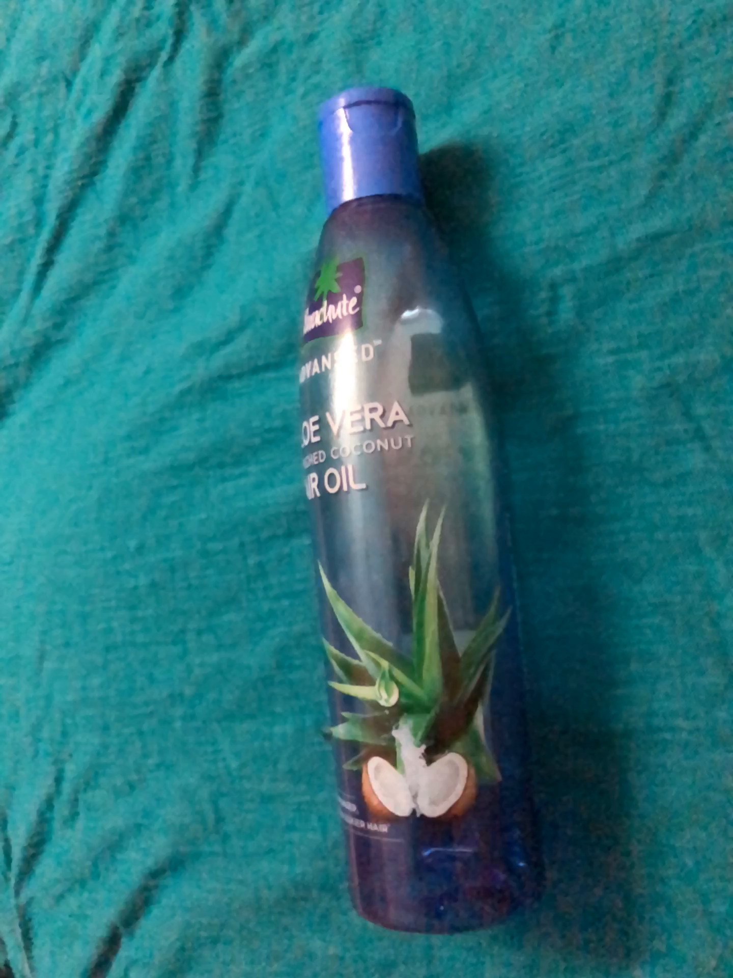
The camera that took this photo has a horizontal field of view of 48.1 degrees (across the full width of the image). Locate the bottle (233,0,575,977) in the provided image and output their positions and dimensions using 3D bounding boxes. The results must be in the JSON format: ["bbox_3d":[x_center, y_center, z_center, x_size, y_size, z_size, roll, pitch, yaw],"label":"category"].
[{"bbox_3d":[0.006,-0.005,0.194,0.050,0.040,0.210,-10,82,42],"label":"bottle"}]
